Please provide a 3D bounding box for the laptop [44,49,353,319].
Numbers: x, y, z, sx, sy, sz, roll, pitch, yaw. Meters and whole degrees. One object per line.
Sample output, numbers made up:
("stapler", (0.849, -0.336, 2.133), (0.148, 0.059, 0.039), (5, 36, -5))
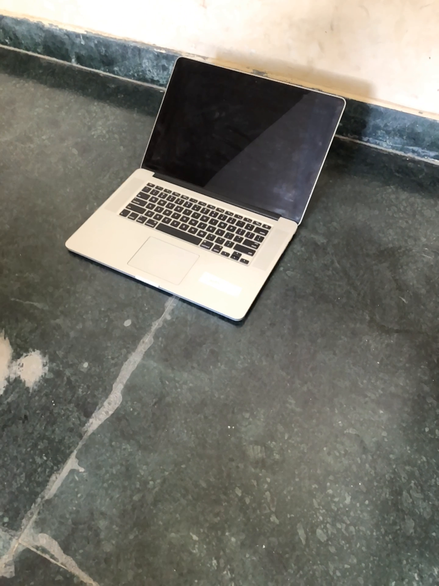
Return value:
("laptop", (-0.016, -0.220, 0.859), (0.342, 0.130, 0.435), (22, 59, 15))
